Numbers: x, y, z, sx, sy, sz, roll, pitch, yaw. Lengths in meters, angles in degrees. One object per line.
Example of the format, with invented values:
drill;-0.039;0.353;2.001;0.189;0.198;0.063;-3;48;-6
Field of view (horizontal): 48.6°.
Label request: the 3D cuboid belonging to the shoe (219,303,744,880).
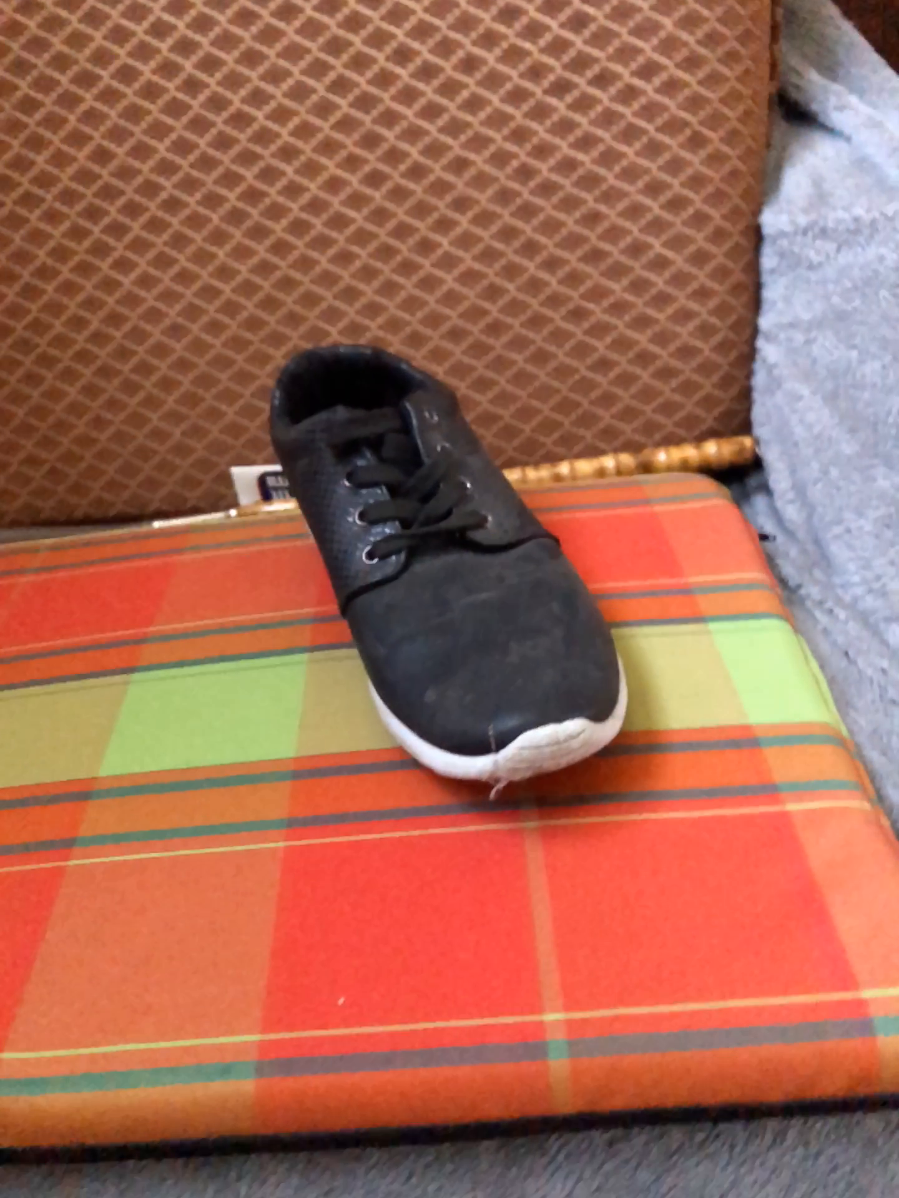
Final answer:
shoe;-0.006;-0.030;0.409;0.110;0.080;0.267;-20;37;-12
